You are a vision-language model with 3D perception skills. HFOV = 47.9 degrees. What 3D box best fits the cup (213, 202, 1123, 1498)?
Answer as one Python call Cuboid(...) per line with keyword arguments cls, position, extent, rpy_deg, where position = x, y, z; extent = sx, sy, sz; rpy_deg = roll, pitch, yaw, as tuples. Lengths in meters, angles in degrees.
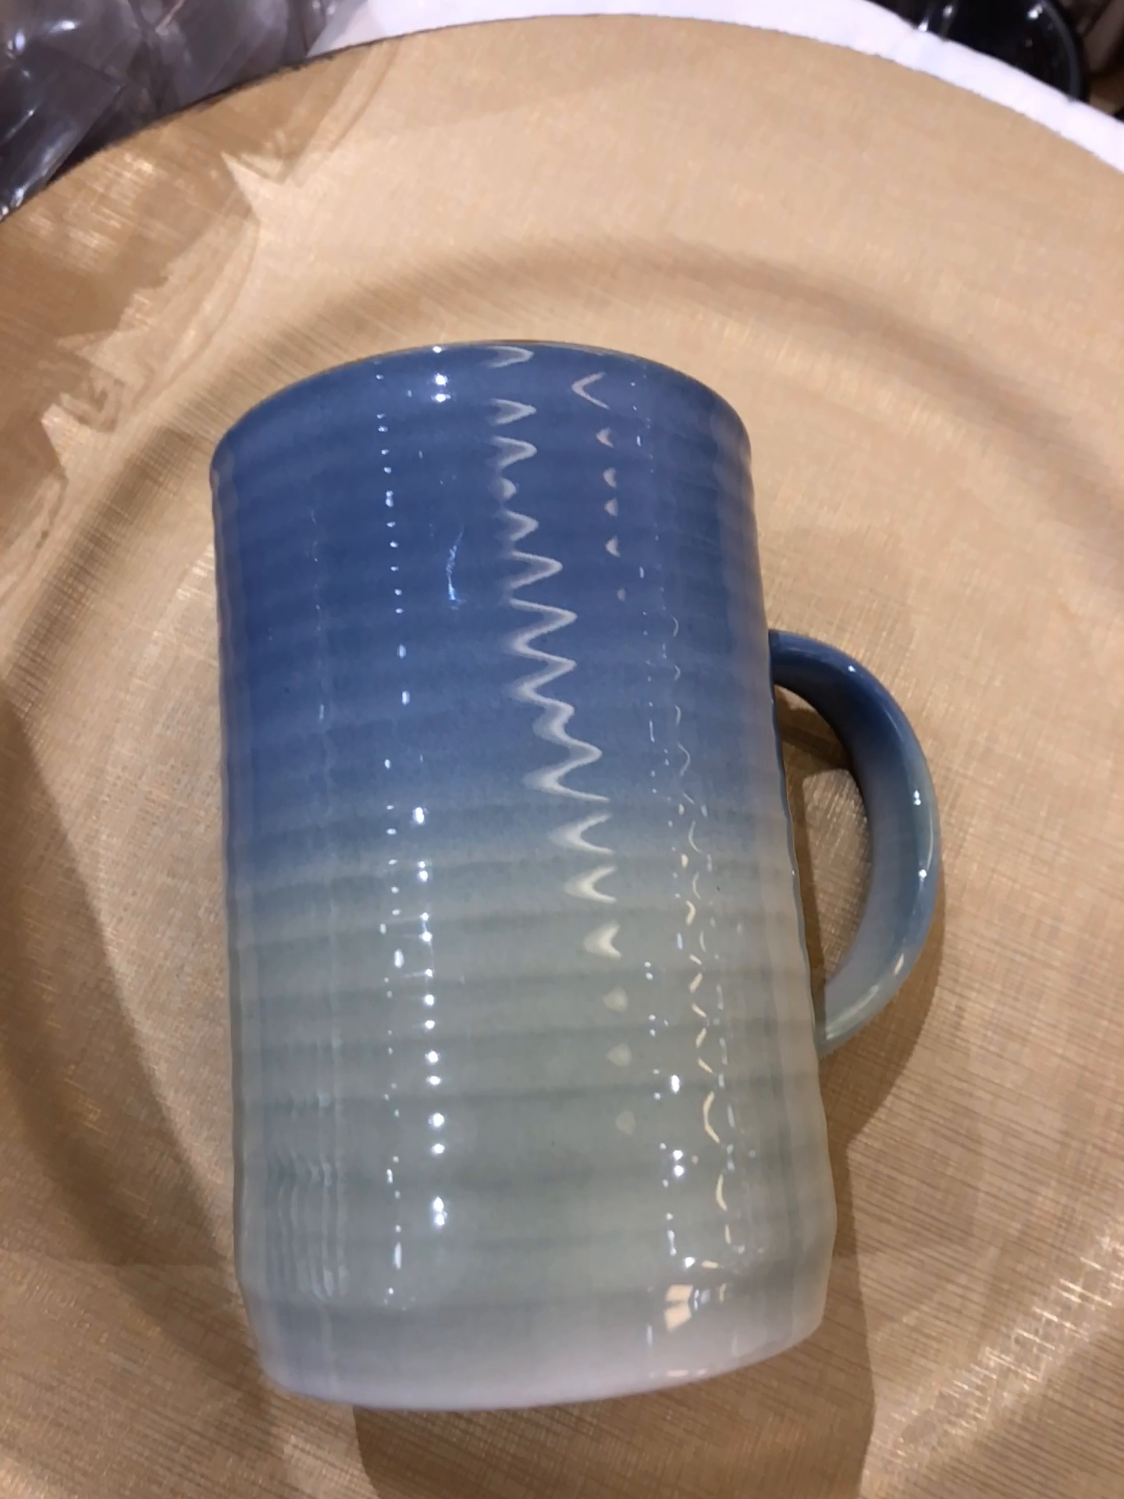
Cuboid(cls="cup", position=(0.016, 0.011, 0.178), extent=(0.120, 0.060, 0.140), rpy_deg=(1, 72, -21))
